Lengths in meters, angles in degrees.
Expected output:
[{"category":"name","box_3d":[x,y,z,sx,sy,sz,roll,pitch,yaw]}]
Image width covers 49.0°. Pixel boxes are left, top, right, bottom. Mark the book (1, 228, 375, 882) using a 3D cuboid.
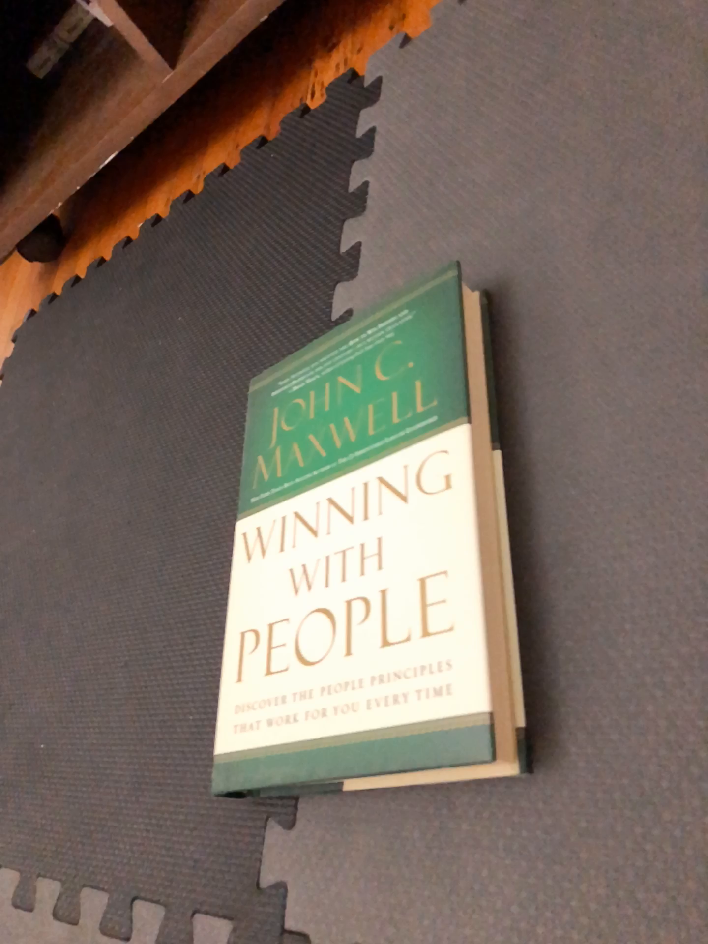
[{"category":"book","box_3d":[-0.081,0.039,0.395,0.200,0.030,0.291,-21,54,38]}]
